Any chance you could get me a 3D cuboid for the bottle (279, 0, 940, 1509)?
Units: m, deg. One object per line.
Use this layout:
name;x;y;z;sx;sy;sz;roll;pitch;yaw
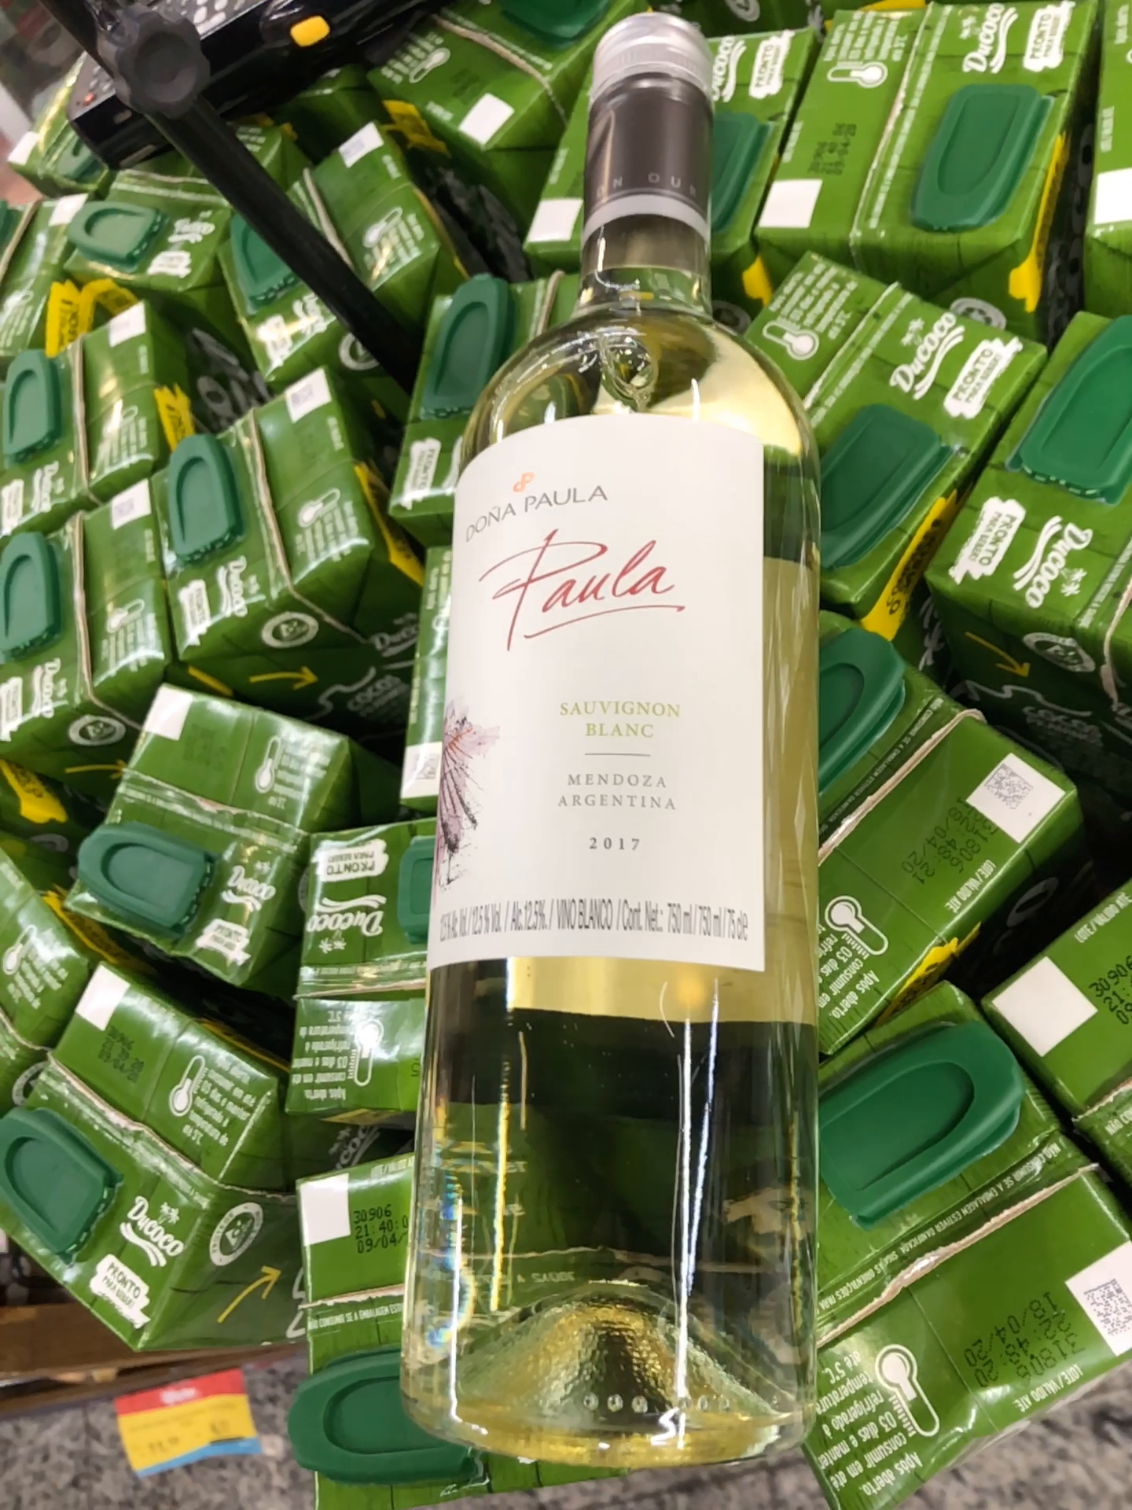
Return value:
bottle;0.021;-0.050;0.252;0.080;0.070;0.331;-6;67;25
